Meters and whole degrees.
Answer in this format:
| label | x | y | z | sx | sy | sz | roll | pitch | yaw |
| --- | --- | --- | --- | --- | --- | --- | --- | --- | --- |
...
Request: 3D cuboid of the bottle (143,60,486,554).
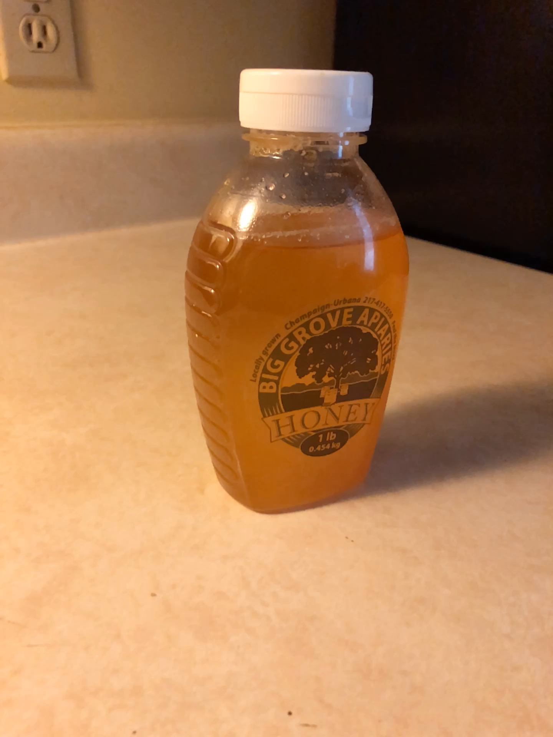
| label | x | y | z | sx | sy | sz | roll | pitch | yaw |
| --- | --- | --- | --- | --- | --- | --- | --- | --- | --- |
| bottle | 0.008 | -0.024 | 0.209 | 0.080 | 0.140 | 0.060 | -12 | 27 | -26 |
